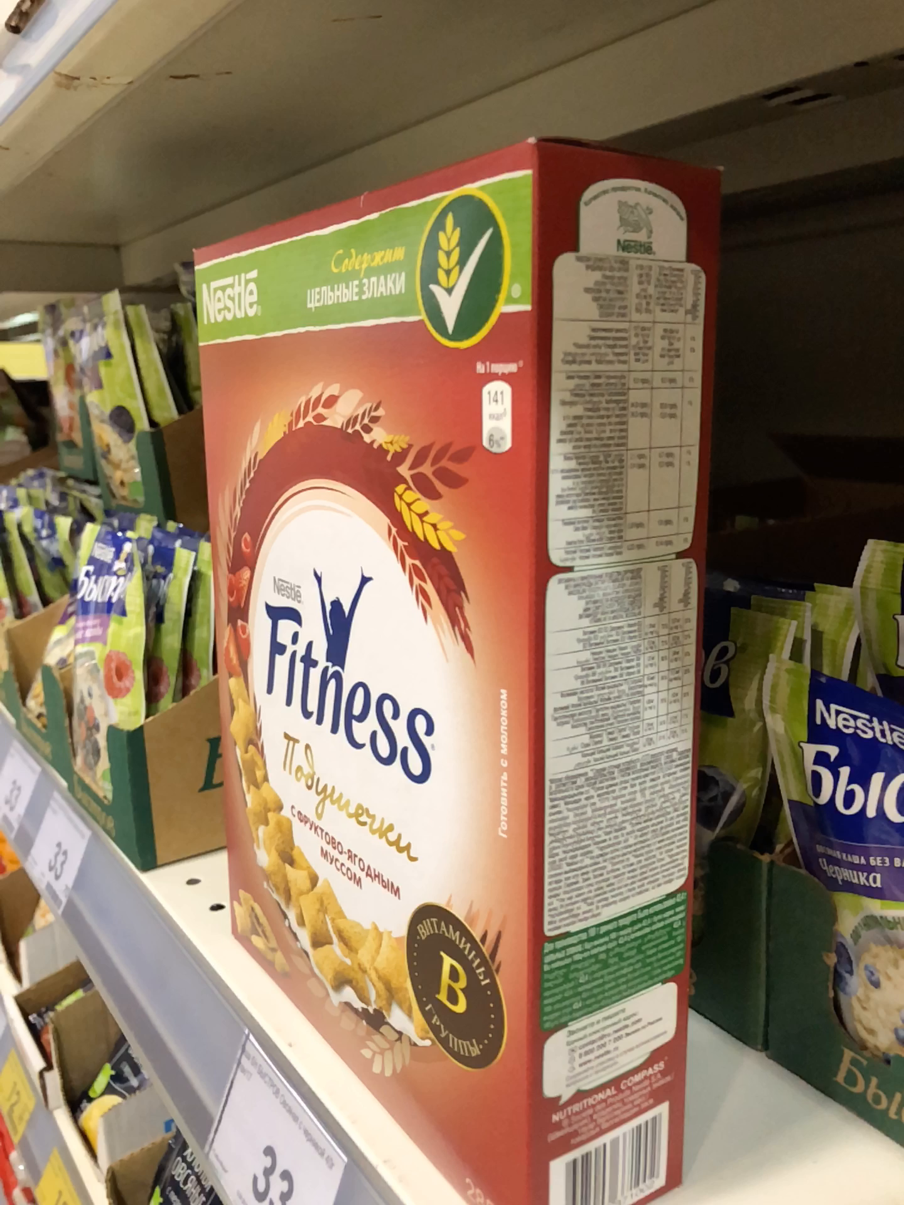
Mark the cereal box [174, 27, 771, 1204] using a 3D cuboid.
[{"bbox_3d":[-0.011,0.010,0.265,0.050,0.239,0.180,-8,14,-33],"label":"cereal box"}]
